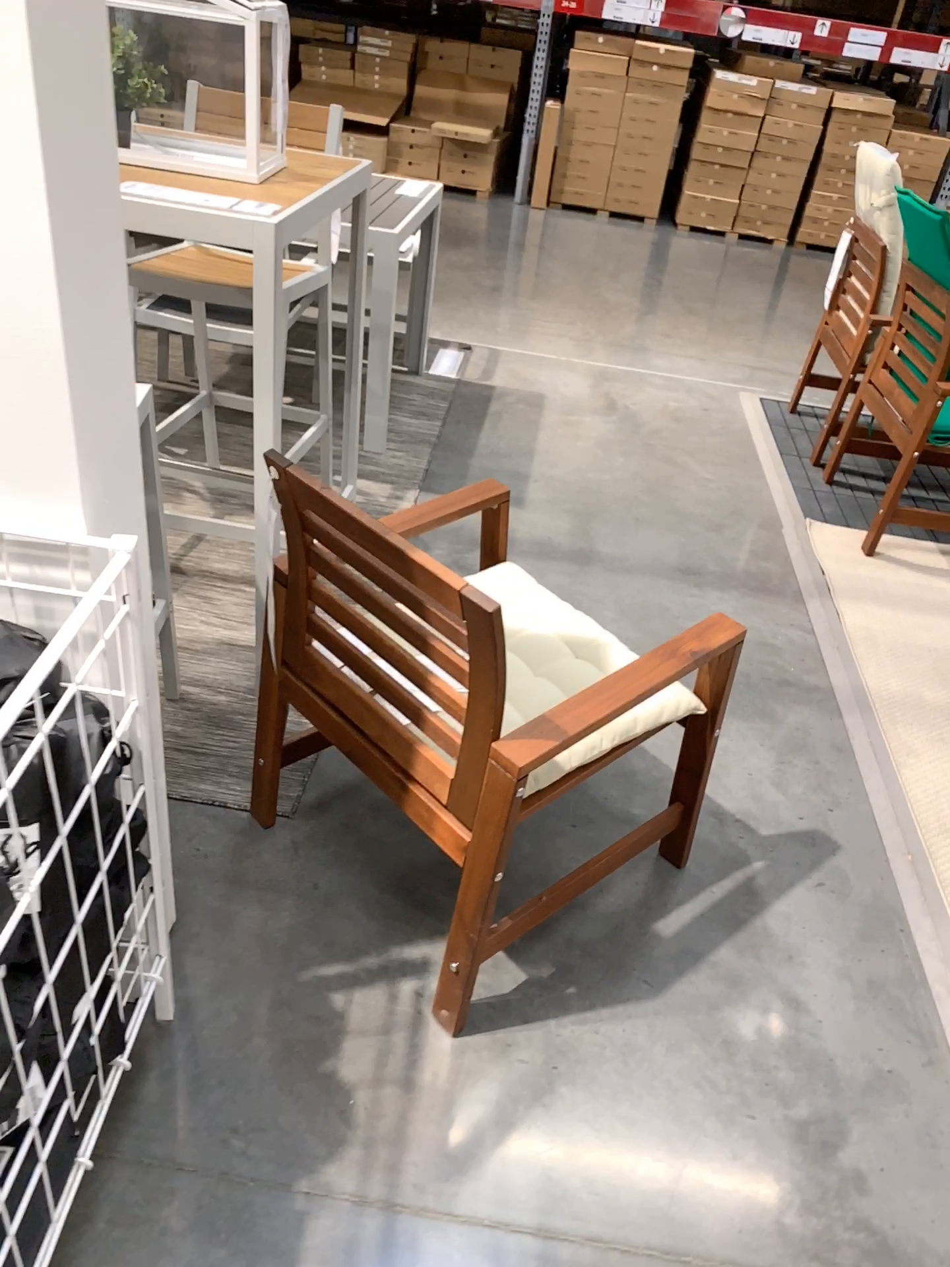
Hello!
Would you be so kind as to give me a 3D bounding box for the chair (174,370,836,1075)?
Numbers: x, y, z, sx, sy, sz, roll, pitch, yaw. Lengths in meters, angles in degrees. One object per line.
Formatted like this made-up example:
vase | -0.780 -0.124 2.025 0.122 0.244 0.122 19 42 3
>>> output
chair | 0.017 0.072 1.603 0.722 0.706 0.651 -25 46 -39
